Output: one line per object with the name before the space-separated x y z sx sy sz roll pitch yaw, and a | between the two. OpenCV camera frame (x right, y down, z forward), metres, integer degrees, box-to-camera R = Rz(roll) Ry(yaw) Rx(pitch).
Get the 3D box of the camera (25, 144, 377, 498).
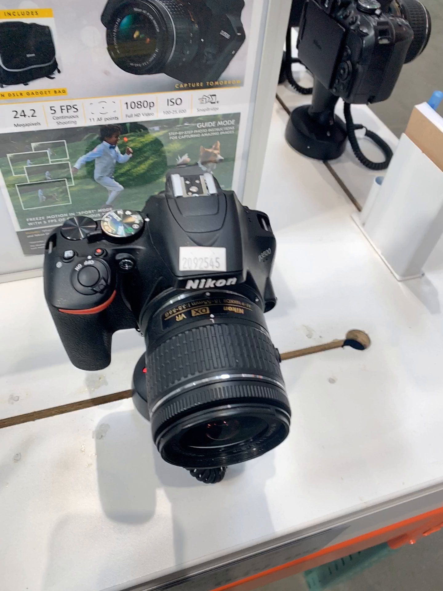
camera | -0.019 0.008 0.224 0.116 0.099 0.121 -8 51 -11
